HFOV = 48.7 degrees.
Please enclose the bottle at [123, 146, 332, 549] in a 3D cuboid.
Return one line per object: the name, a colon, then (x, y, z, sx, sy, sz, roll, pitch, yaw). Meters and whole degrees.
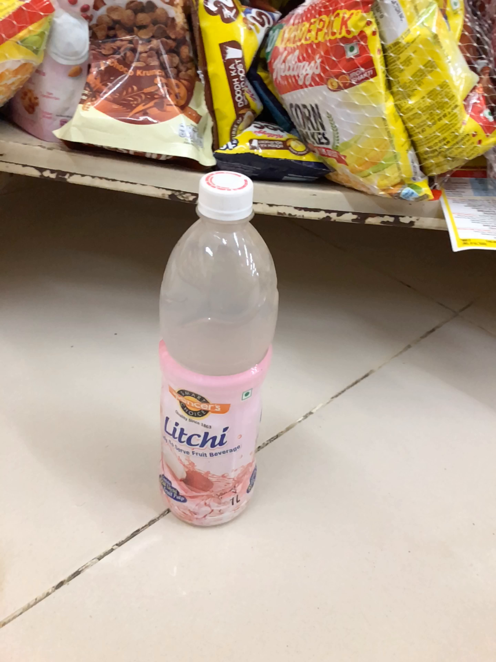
bottle: (-0.016, 0.022, 0.344, 0.080, 0.238, 0.081, 4, 38, -3)
